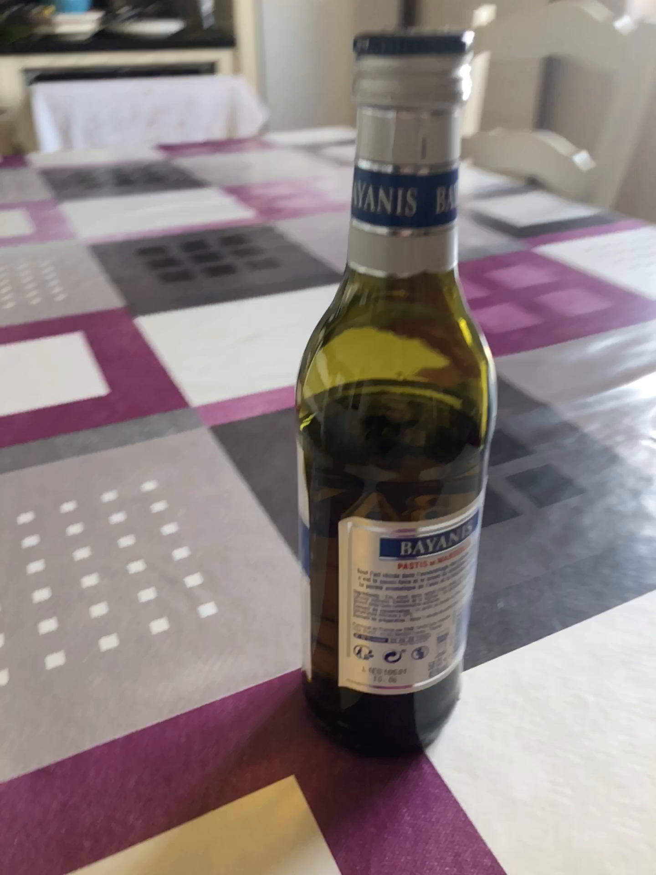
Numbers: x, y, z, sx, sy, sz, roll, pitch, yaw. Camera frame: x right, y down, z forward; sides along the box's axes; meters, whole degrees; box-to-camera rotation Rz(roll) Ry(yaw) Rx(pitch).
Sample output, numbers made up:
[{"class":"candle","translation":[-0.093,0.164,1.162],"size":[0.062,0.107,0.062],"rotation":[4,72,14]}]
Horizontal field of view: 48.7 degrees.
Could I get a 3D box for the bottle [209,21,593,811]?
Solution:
[{"class":"bottle","translation":[0.017,0.006,0.251],"size":[0.070,0.258,0.070],"rotation":[-1,31,0]}]
